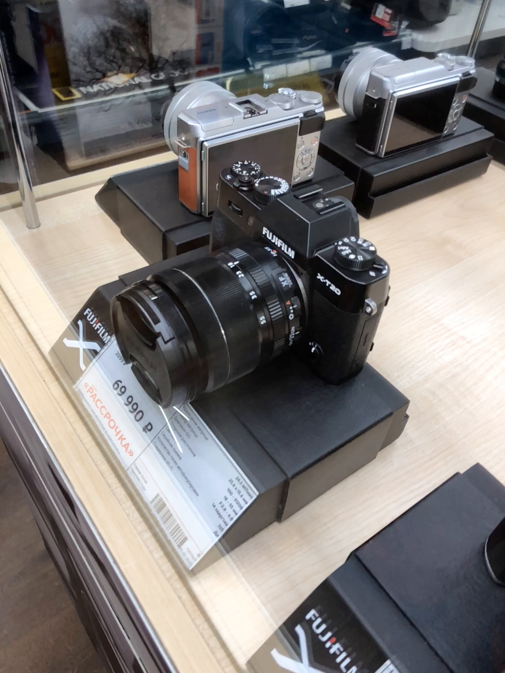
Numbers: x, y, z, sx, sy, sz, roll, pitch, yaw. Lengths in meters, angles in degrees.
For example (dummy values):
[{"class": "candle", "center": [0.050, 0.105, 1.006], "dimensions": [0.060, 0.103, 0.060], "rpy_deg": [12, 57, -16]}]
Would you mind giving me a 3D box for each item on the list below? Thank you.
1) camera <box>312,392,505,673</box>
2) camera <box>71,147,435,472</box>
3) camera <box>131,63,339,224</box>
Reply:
[{"class": "camera", "center": [0.112, 0.108, 0.167], "dimensions": [0.124, 0.072, 0.130], "rpy_deg": [-25, 52, -28]}, {"class": "camera", "center": [-0.005, -0.025, 0.297], "dimensions": [0.130, 0.080, 0.122], "rpy_deg": [-23, 51, -27]}, {"class": "camera", "center": [-0.013, -0.143, 0.402], "dimensions": [0.122, 0.063, 0.074], "rpy_deg": [-25, 52, -28]}]
